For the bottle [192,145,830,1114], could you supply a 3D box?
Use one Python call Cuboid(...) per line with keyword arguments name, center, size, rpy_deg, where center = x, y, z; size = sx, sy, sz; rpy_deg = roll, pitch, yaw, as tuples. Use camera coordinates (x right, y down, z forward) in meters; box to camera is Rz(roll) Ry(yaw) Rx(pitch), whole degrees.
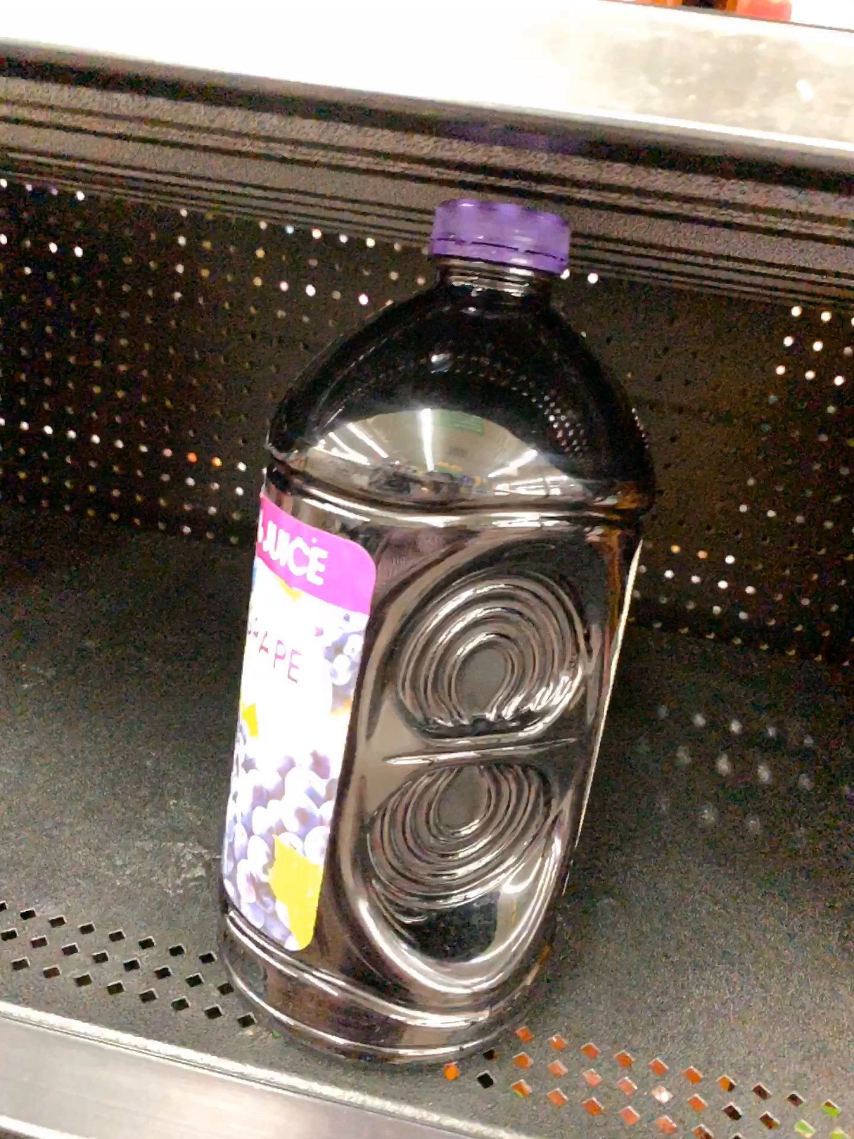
Cuboid(name="bottle", center=(0.004, 0.018, 0.317), size=(0.140, 0.279, 0.130), rpy_deg=(8, 18, -3))
